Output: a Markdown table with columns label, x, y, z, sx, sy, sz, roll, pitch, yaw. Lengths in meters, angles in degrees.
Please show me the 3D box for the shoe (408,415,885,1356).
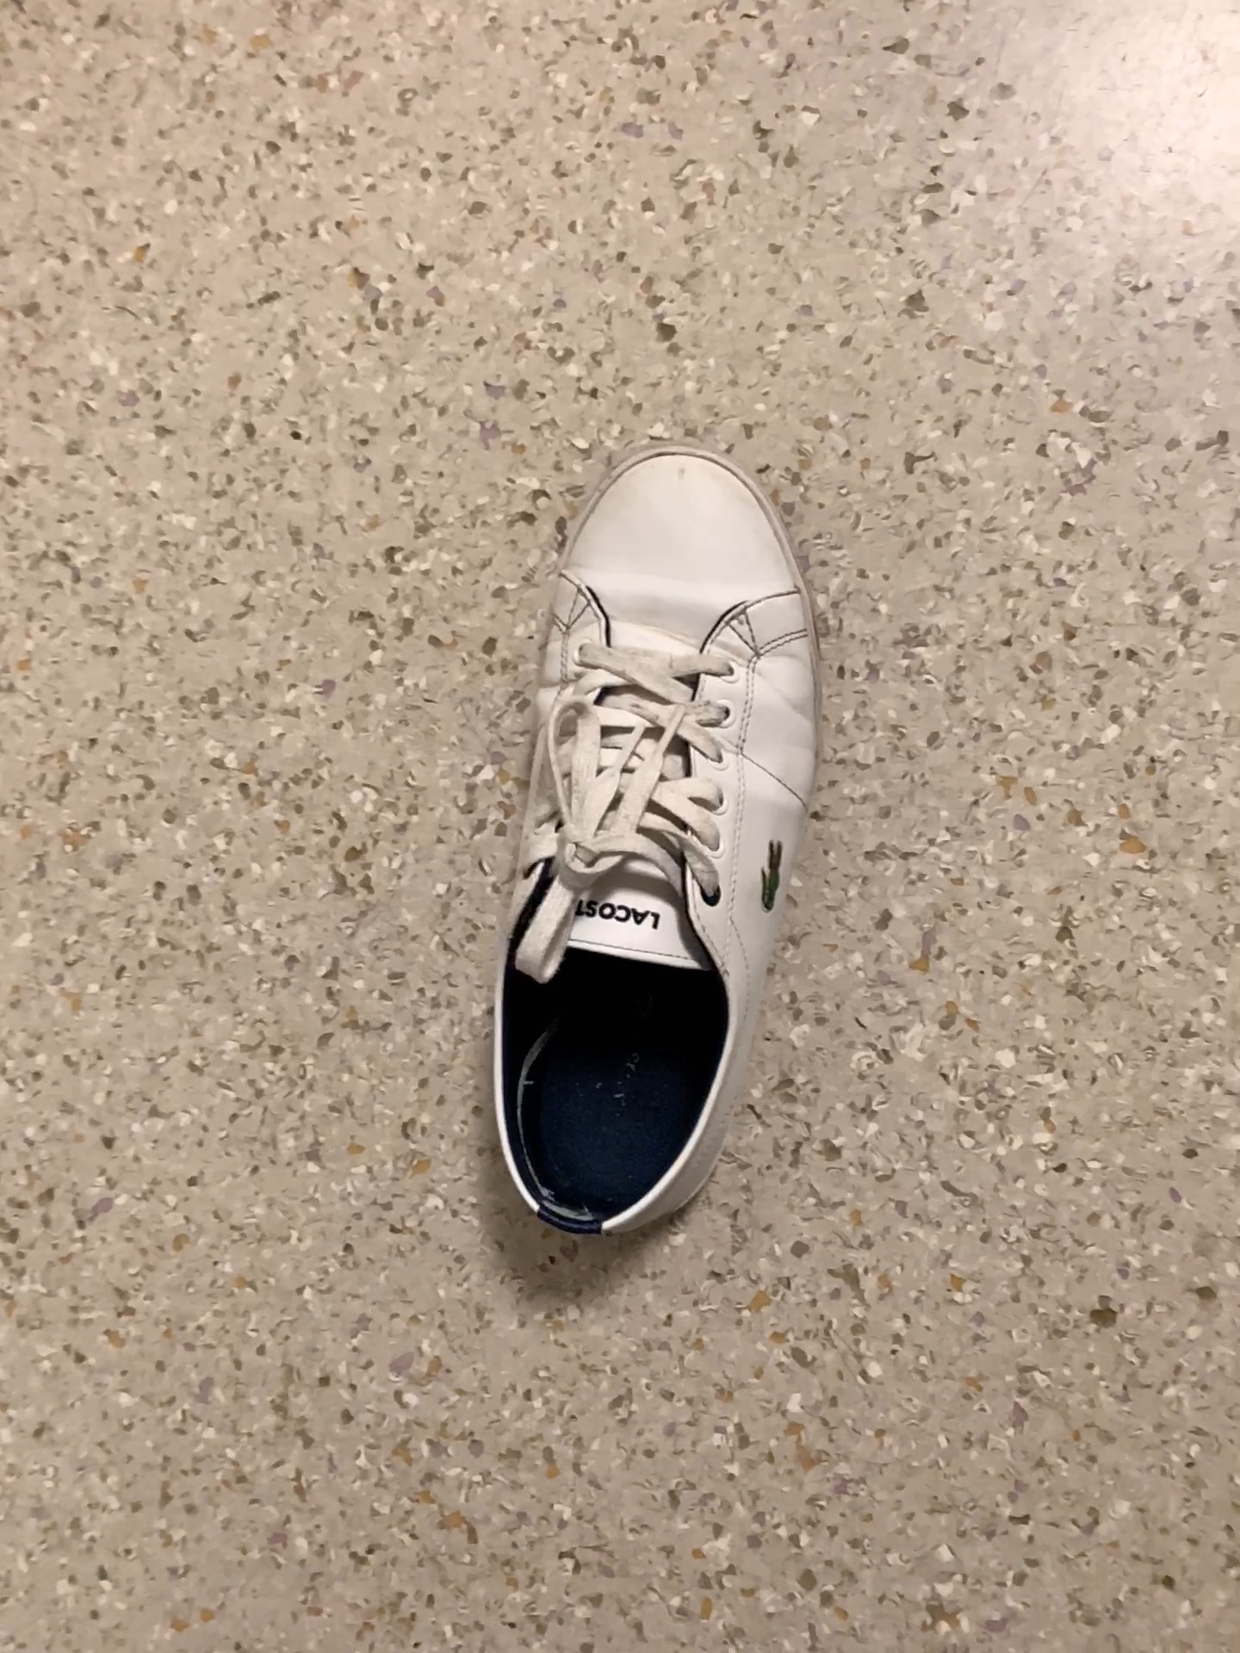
| label | x | y | z | sx | sy | sz | roll | pitch | yaw |
| --- | --- | --- | --- | --- | --- | --- | --- | --- | --- |
| shoe | 0.014 | 0.014 | 0.399 | 0.100 | 0.090 | 0.250 | 8 | 91 | 11 |
